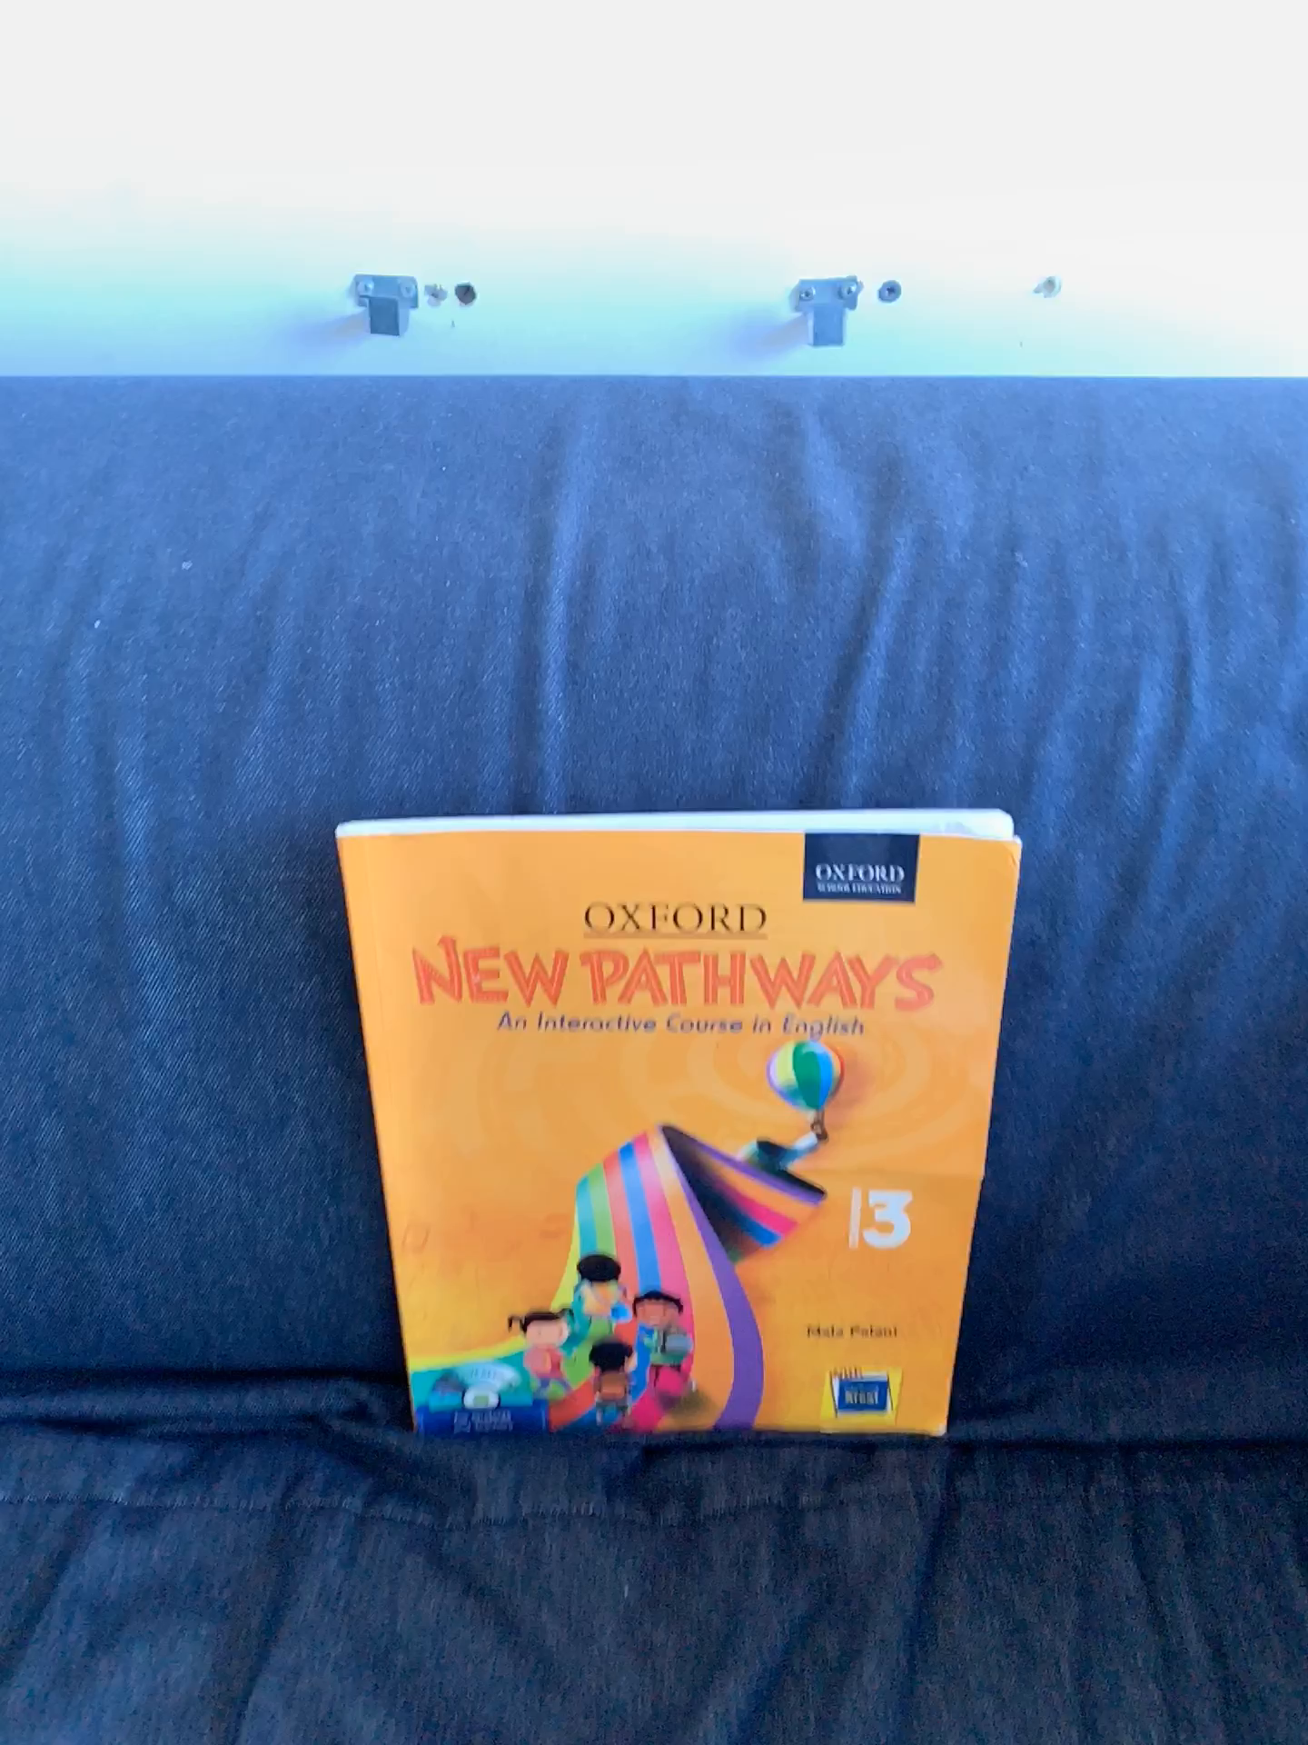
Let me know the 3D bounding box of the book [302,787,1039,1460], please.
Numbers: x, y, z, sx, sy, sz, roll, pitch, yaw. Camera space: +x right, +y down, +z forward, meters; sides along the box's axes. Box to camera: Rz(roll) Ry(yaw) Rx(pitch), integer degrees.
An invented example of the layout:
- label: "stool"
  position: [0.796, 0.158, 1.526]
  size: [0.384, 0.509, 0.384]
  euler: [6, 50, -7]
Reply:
- label: "book"
  position: [0.005, 0.105, 0.496]
  size: [0.230, 0.283, 0.030]
  euler: [0, 27, 0]
